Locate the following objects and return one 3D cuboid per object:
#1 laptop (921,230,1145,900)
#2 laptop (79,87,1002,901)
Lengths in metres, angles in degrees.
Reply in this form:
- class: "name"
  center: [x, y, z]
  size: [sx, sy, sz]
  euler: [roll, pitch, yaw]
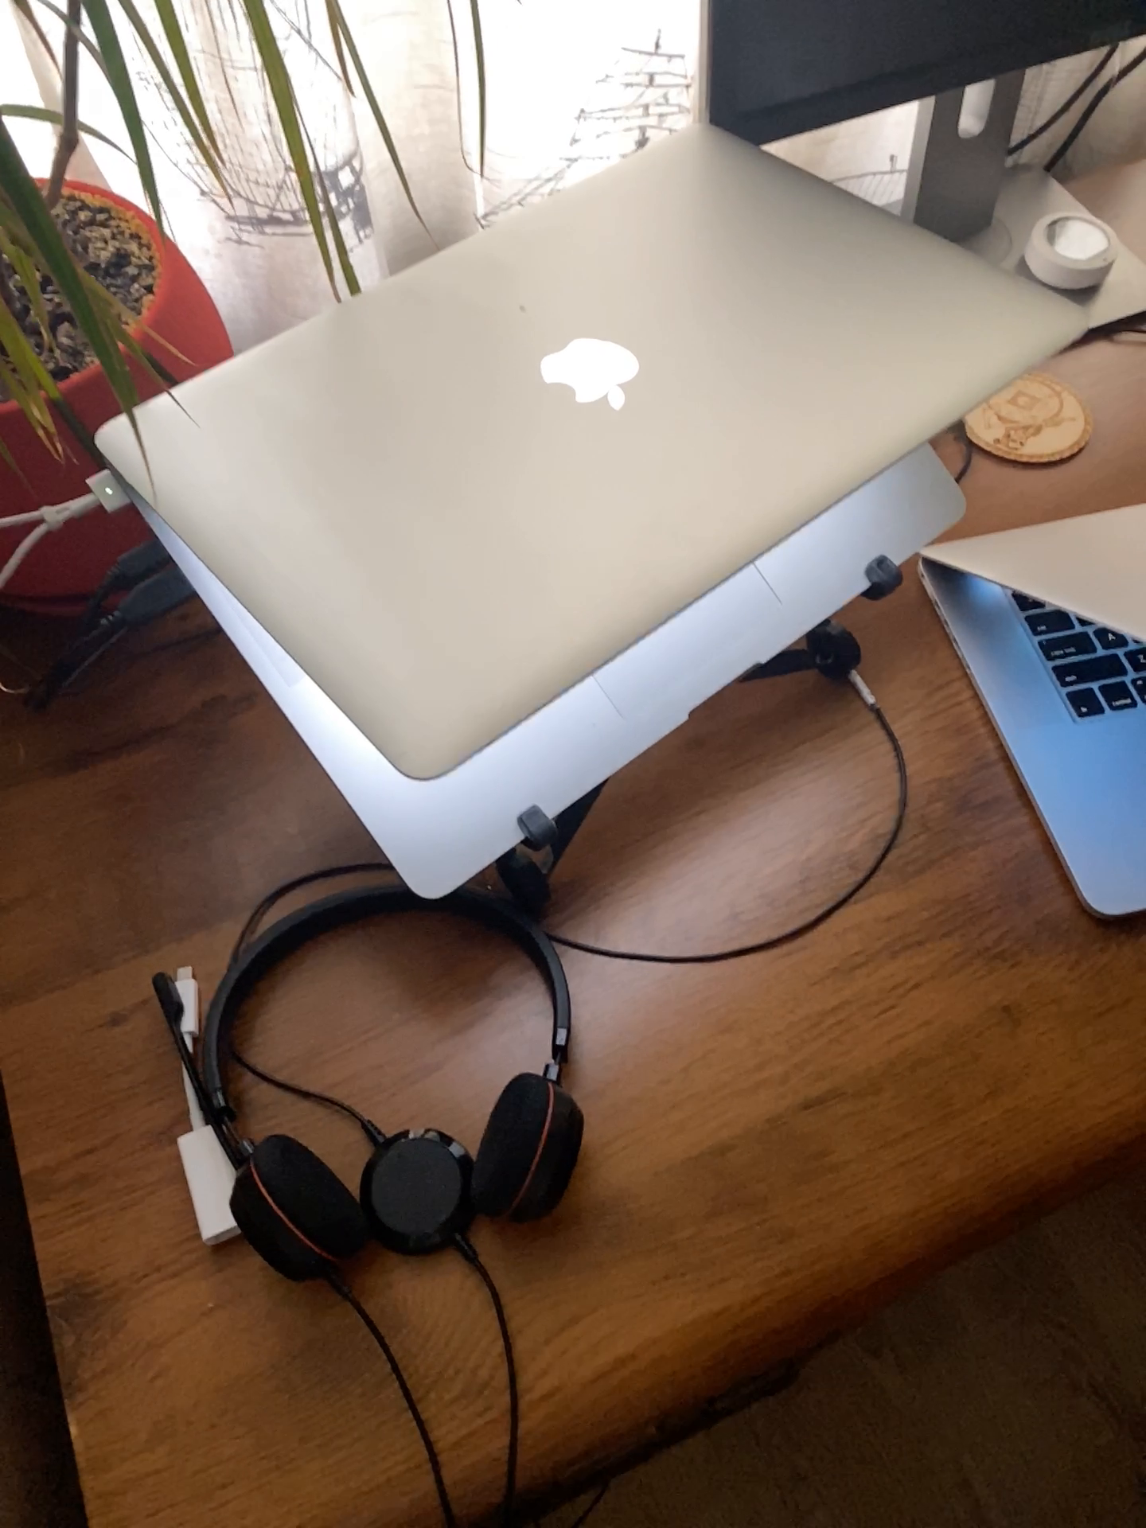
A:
- class: "laptop"
  center: [0.405, -0.104, 0.588]
  size: [0.355, 0.152, 0.236]
  euler: [-11, 58, -5]
- class: "laptop"
  center: [0.005, -0.143, 0.544]
  size: [0.355, 0.022, 0.242]
  euler: [-35, 87, -18]
